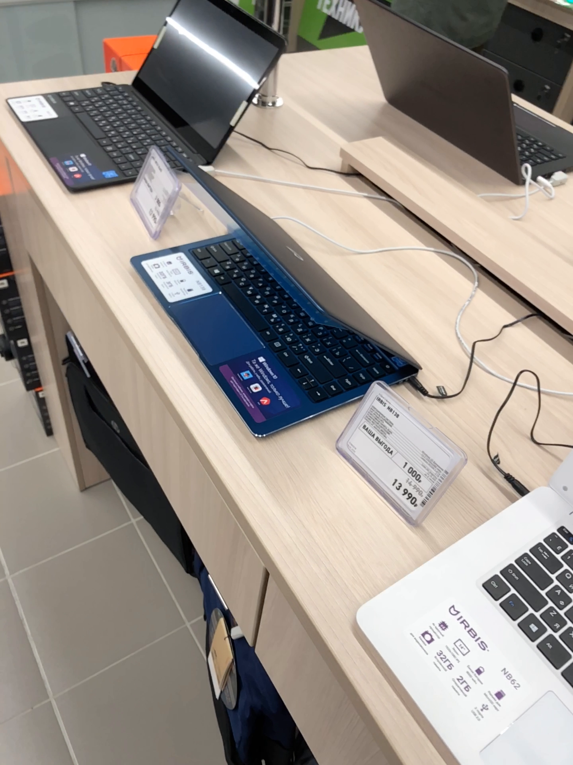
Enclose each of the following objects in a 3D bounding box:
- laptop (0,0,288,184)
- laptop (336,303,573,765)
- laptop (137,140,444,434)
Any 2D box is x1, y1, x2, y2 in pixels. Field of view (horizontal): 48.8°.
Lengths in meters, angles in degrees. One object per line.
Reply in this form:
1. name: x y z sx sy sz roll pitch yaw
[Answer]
1. laptop: -0.227 -0.480 0.985 0.323 0.165 0.294 -19 51 -24
2. laptop: 0.285 0.157 0.380 0.303 0.212 0.340 -20 50 -25
3. laptop: -0.015 -0.125 0.699 0.189 0.124 0.309 -21 51 -23
